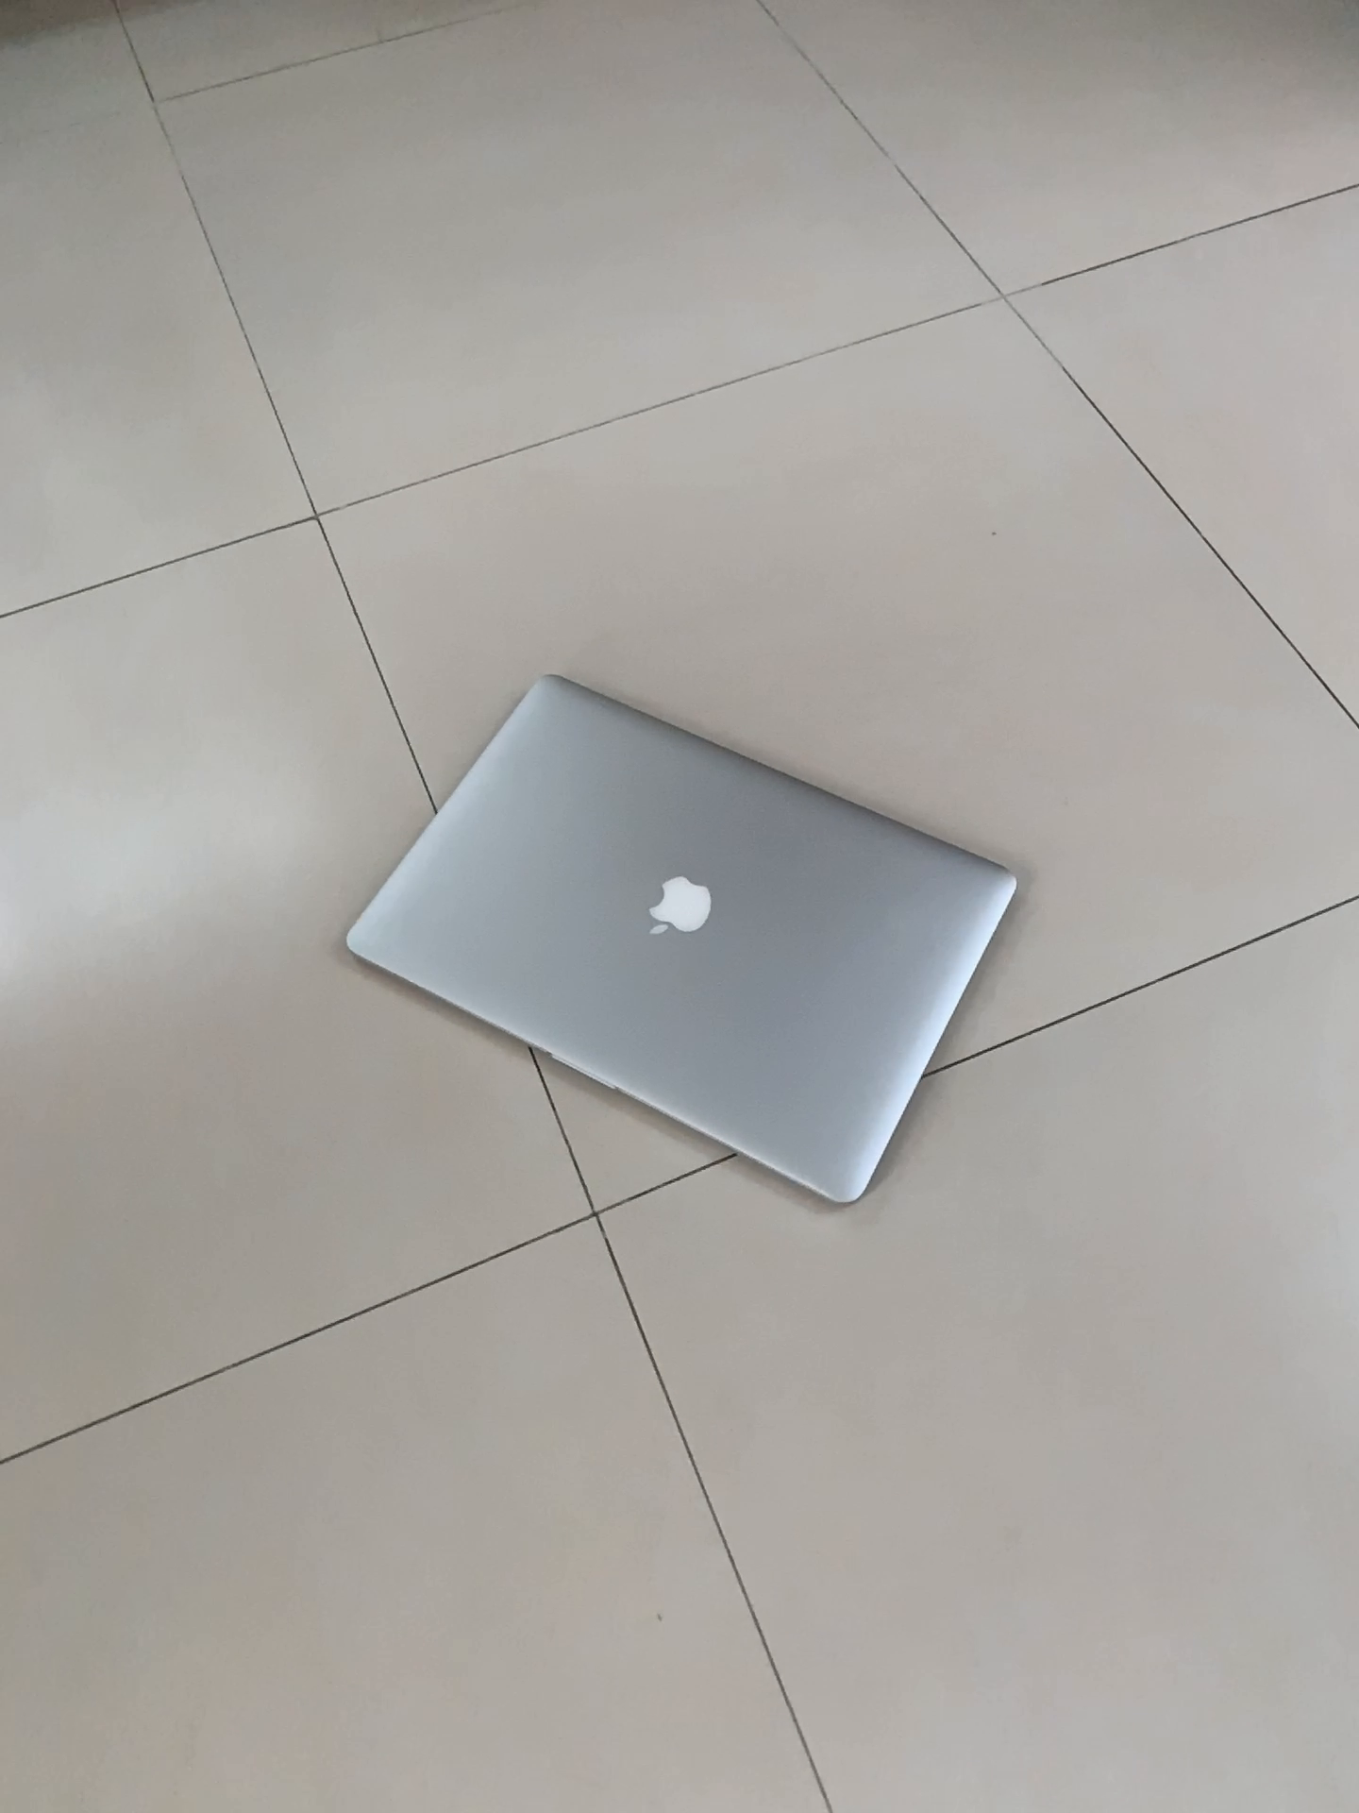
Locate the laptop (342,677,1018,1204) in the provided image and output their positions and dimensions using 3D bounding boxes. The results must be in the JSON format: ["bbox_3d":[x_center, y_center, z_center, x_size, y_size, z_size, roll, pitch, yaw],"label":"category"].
[{"bbox_3d":[0.000,0.003,0.876,0.356,0.001,0.239,25,65,16],"label":"laptop"}]
